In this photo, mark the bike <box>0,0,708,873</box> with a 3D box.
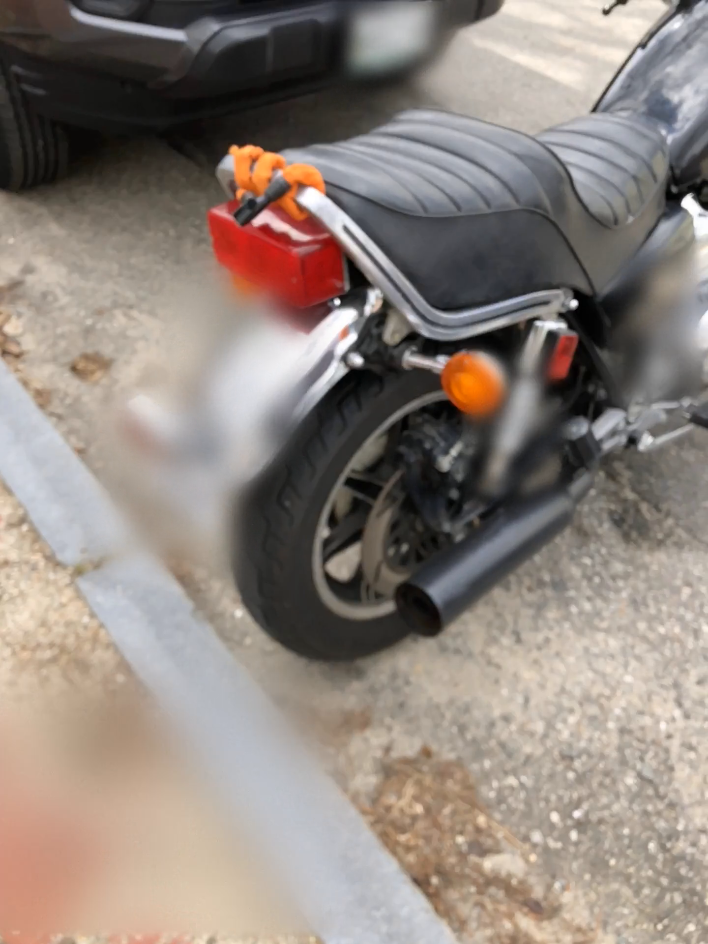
[{"bbox_3d":[0.667,-0.546,1.635,2.306,1.418,0.687,-32,54,-31],"label":"bike"}]
